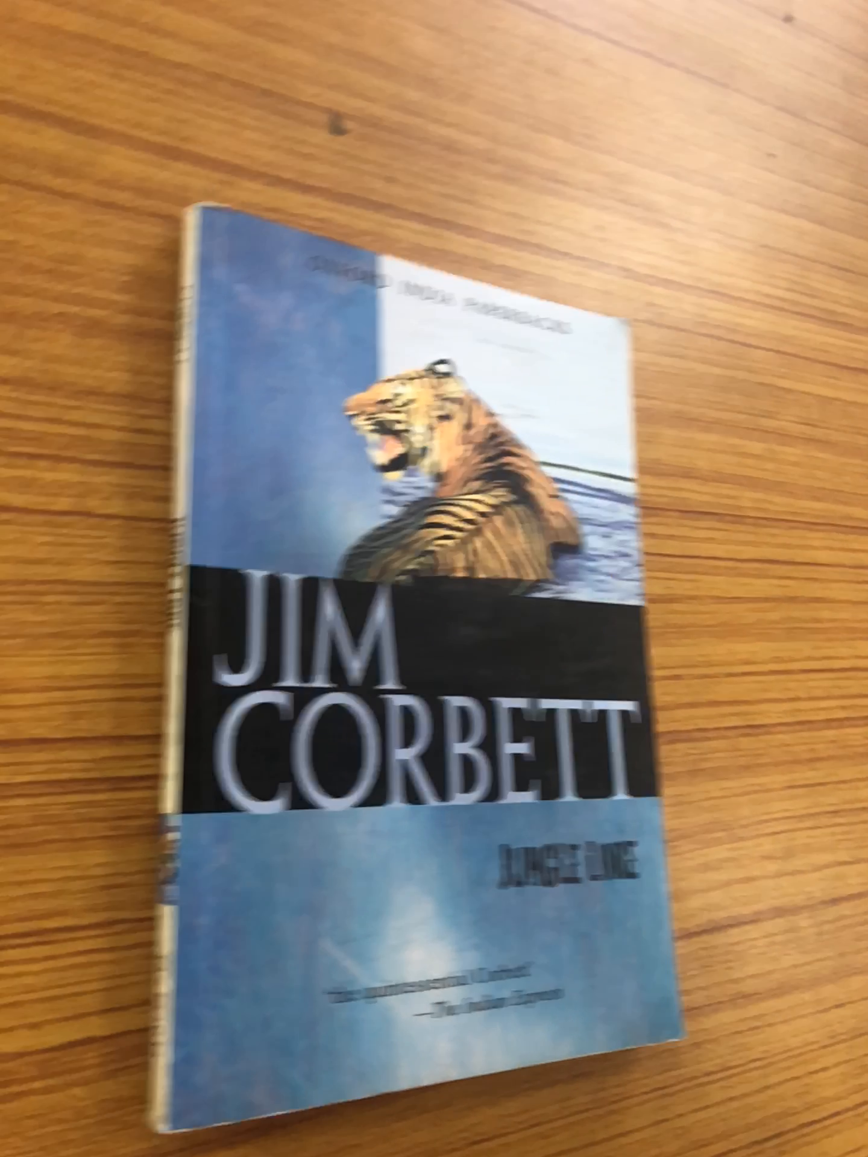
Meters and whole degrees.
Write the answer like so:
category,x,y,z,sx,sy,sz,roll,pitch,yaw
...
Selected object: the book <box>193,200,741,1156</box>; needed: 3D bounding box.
category,x,y,z,sx,sy,sz,roll,pitch,yaw
book,0.014,0.021,0.259,0.150,0.010,0.220,6,76,-29
